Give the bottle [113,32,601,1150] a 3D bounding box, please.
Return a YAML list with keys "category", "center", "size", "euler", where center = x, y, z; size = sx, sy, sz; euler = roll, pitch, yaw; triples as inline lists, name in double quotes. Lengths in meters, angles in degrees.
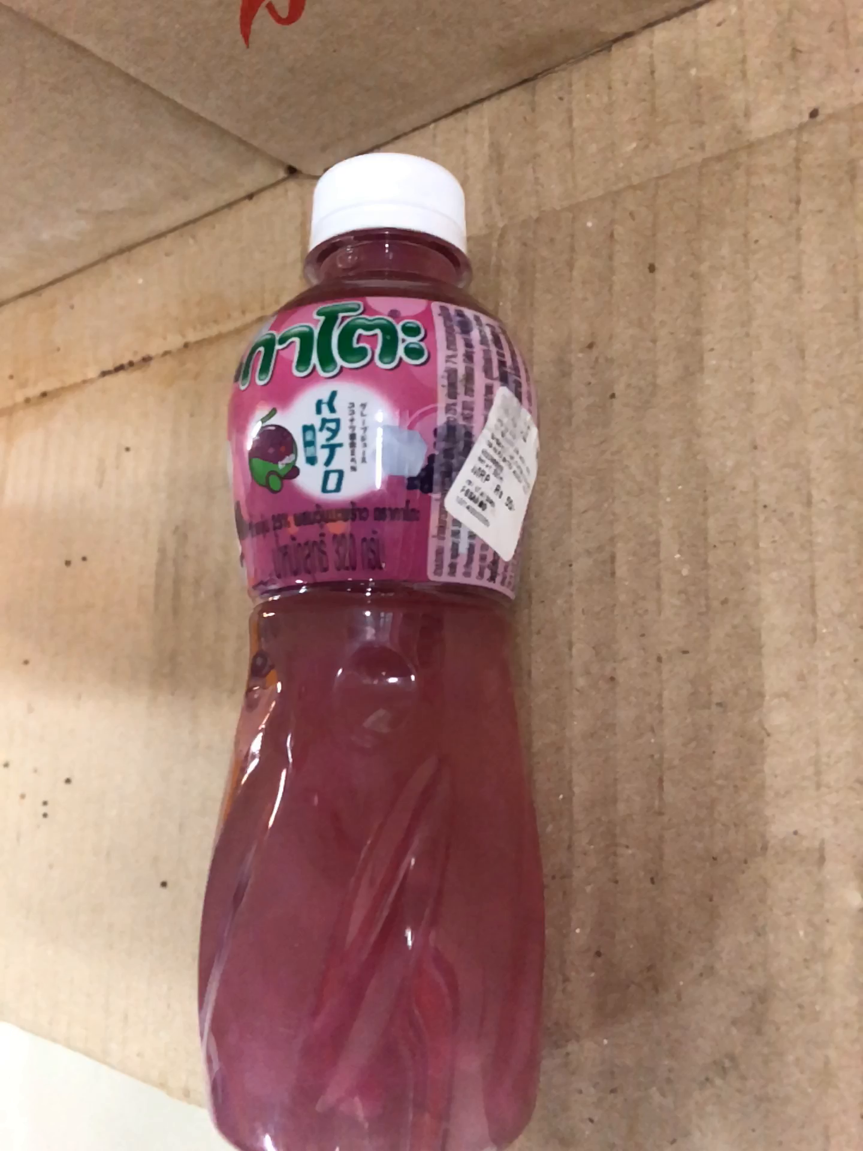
- category: "bottle"
  center: [-0.010, 0.008, 0.168]
  size: [0.060, 0.050, 0.170]
  euler: [-5, 79, 31]
